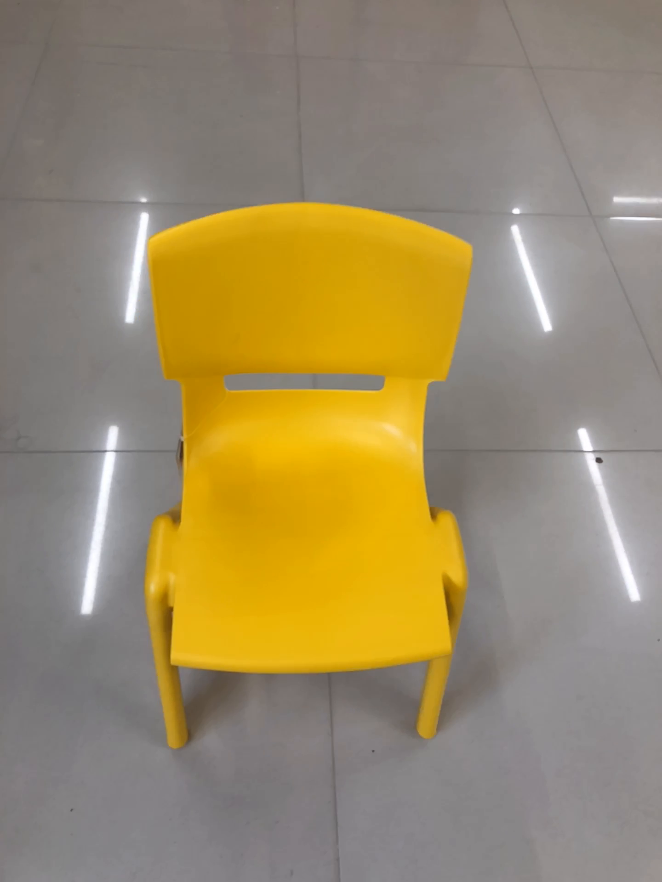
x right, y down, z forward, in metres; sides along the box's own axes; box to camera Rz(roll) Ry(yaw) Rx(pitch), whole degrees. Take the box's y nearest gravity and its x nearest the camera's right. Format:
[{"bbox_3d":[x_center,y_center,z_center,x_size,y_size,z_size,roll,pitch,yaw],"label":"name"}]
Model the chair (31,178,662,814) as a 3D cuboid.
[{"bbox_3d":[-0.014,0.059,0.704,0.360,0.398,0.452,-1,54,-6],"label":"chair"}]
